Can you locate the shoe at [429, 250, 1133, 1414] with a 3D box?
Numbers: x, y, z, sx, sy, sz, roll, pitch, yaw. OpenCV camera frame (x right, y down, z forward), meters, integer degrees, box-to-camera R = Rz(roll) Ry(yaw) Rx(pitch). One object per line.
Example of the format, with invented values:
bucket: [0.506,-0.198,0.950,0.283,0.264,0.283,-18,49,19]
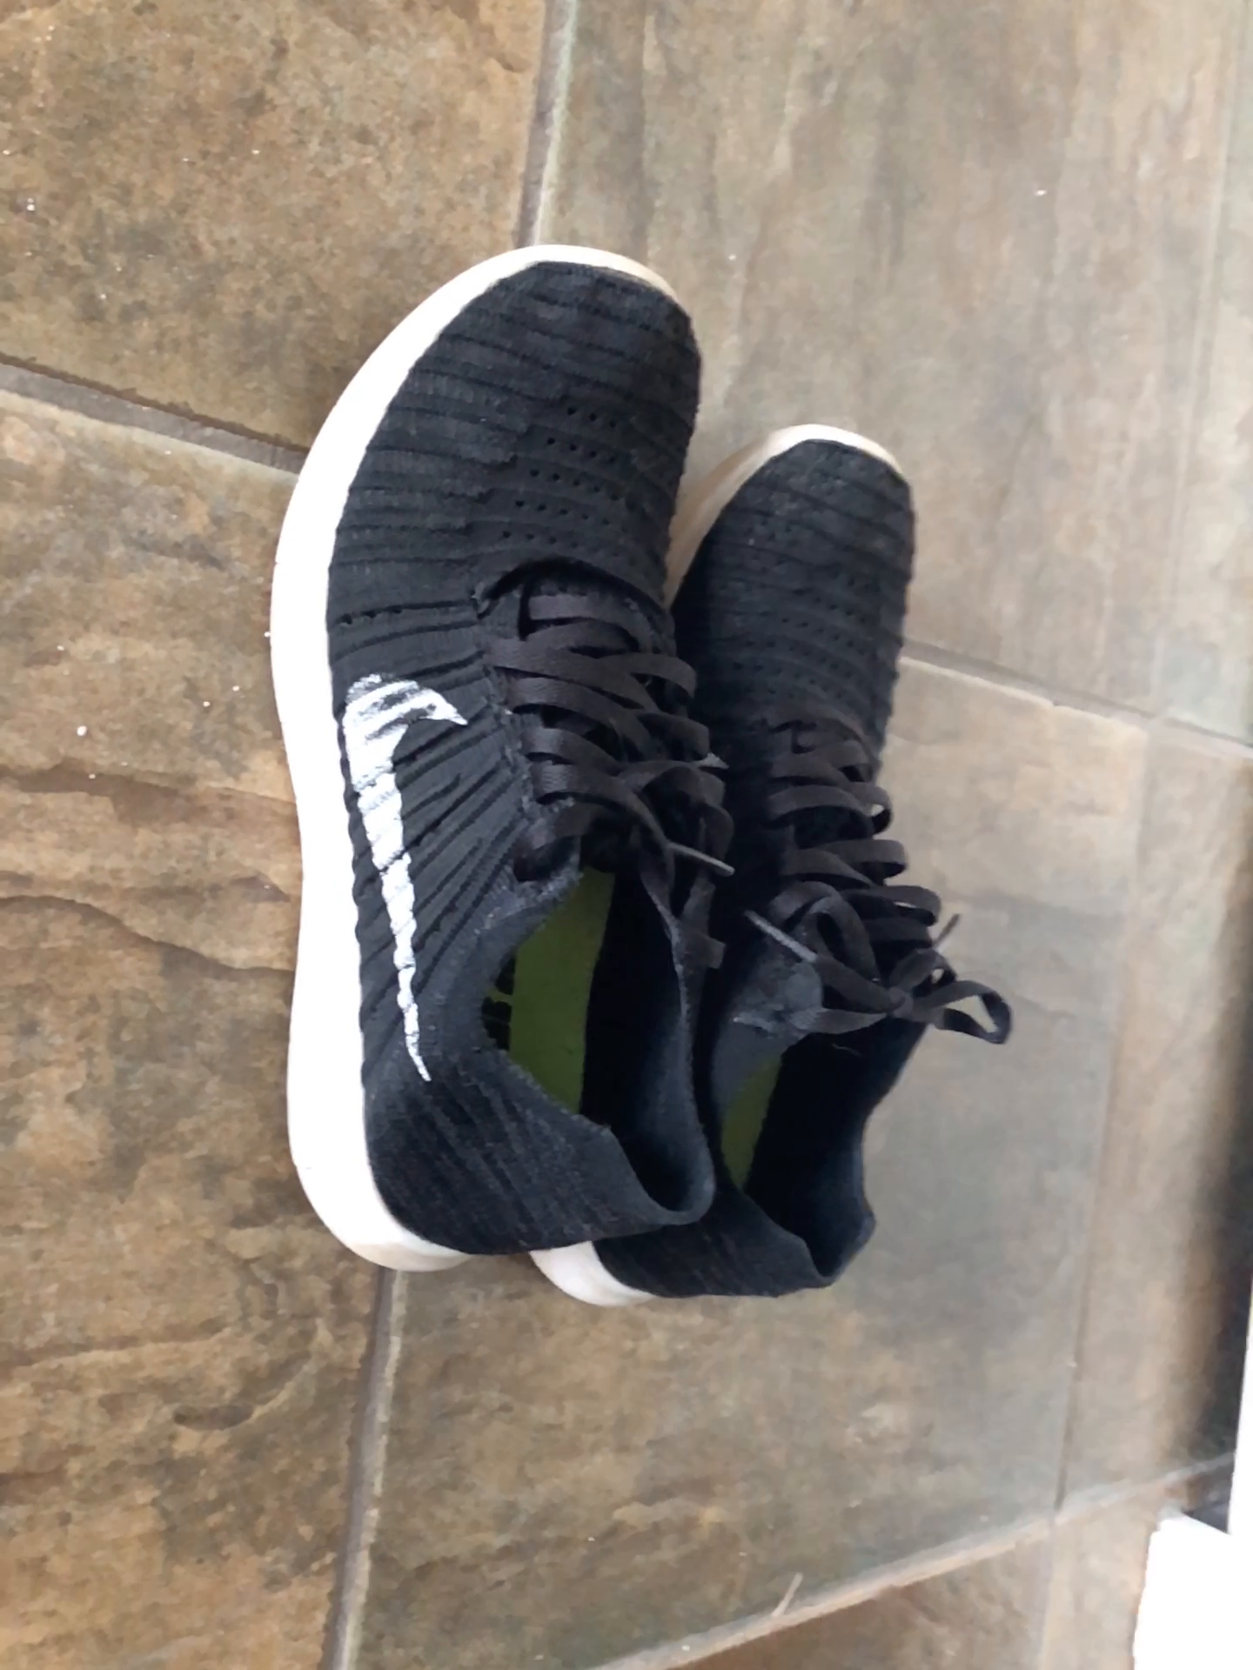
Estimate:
shoe: [0.042,0.003,0.366,0.100,0.090,0.260,16,84,-38]

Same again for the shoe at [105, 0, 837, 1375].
shoe: [-0.036,-0.028,0.320,0.100,0.090,0.260,9,89,-38]
